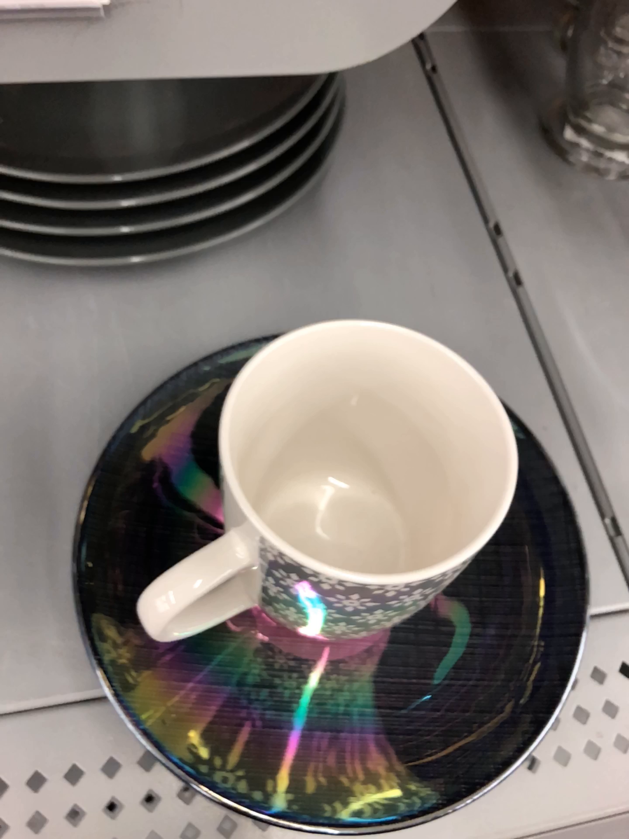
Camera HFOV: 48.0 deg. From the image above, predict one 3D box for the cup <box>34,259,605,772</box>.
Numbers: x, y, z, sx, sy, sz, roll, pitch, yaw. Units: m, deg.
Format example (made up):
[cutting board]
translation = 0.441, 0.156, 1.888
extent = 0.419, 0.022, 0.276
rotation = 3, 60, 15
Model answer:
[cup]
translation = -0.002, 0.033, 0.237
extent = 0.129, 0.096, 0.093
rotation = -27, 67, -20
